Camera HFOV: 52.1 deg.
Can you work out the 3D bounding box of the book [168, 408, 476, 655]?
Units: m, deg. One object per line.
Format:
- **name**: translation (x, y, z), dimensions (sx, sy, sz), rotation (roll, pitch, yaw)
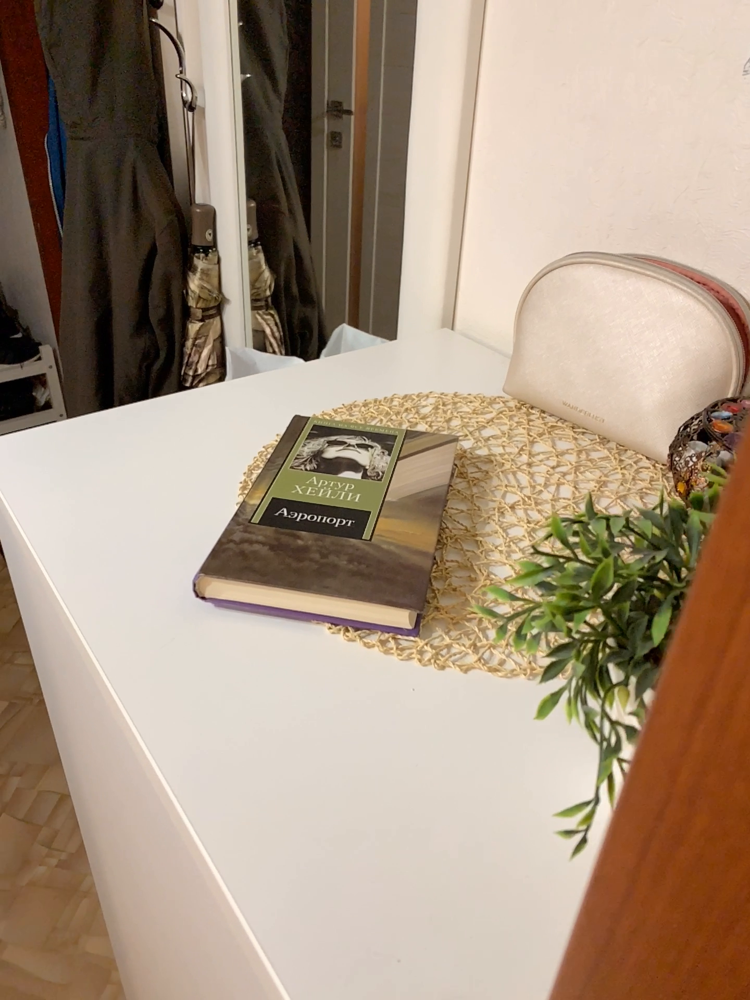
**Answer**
- **book**: translation (-0.019, 0.005, 0.519), dimensions (0.150, 0.020, 0.232), rotation (8, 33, 9)
